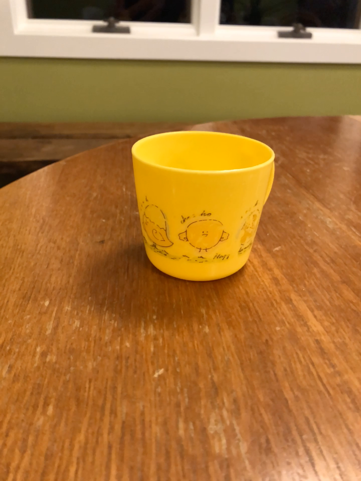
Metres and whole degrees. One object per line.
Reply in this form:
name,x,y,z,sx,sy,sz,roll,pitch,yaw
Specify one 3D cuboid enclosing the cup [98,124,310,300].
cup,0.014,-0.026,0.254,0.098,0.064,0.081,-22,36,-36
